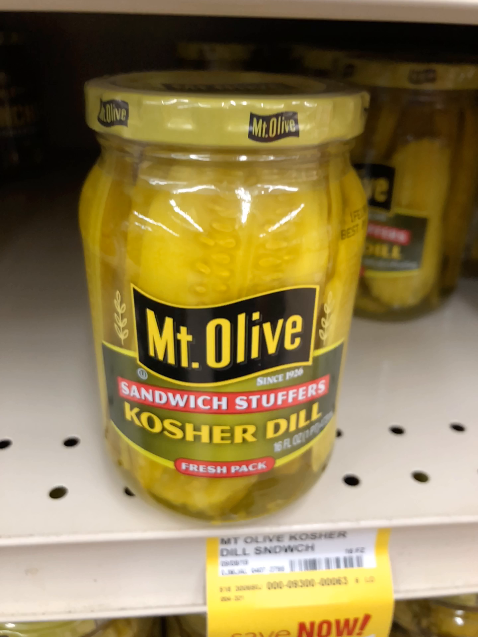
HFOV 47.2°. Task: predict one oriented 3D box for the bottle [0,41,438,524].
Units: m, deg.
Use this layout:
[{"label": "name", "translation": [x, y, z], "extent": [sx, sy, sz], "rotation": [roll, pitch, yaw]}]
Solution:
[{"label": "bottle", "translation": [-0.008, -0.012, 0.174], "extent": [0.090, 0.130, 0.080], "rotation": [1, 29, -2]}]
